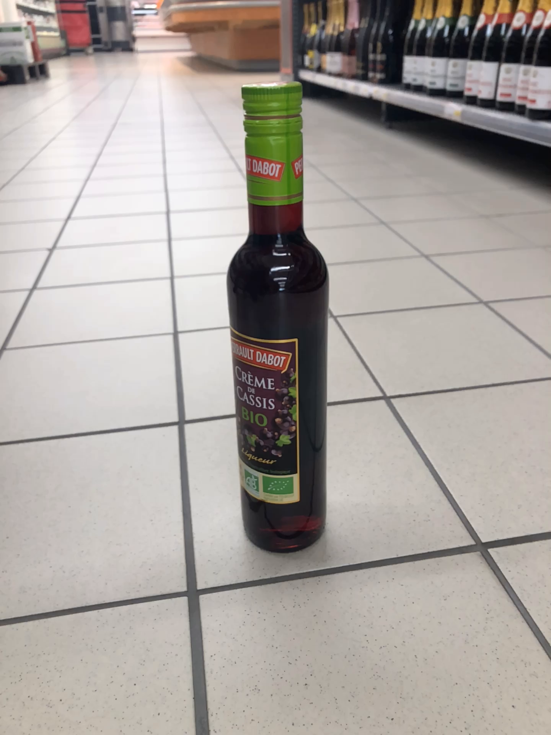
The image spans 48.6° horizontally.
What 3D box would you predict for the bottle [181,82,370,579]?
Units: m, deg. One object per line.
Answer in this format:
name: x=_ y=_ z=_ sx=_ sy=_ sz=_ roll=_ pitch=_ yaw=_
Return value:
bottle: x=0.006 y=-0.014 z=0.374 sx=0.070 sy=0.288 sz=0.070 roll=-1 pitch=27 yaw=1
